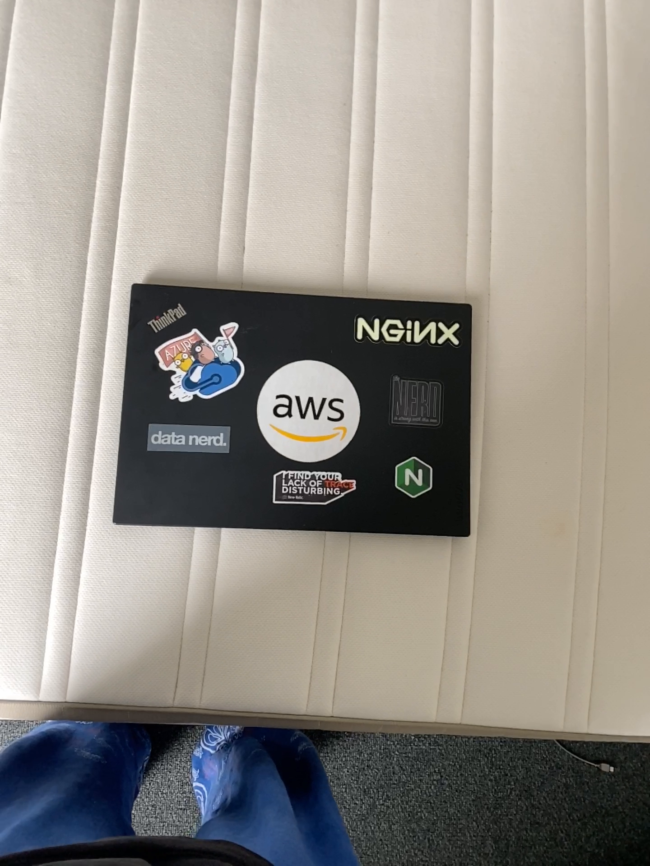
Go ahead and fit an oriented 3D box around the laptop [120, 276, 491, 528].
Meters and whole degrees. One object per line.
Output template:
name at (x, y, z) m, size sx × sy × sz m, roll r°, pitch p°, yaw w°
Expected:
laptop at (-0.010, -0.030, 0.611) m, size 0.322 × 0.014 × 0.224 m, roll 3°, pitch 79°, yaw -2°
